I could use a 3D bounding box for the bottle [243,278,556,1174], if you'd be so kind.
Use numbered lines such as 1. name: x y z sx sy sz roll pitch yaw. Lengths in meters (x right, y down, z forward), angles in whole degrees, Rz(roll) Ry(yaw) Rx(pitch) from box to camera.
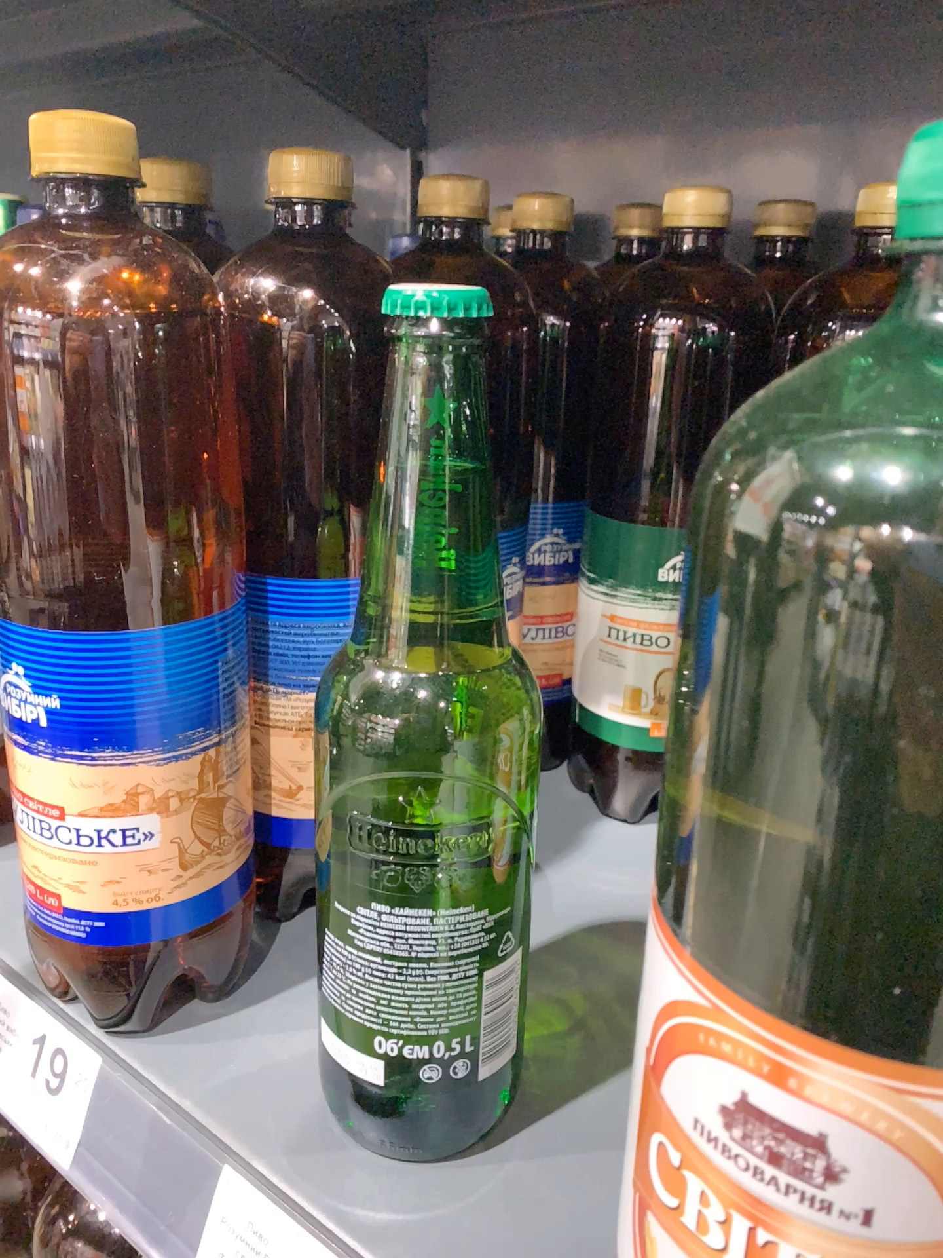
1. bottle: -0.017 0.031 0.283 0.066 0.248 0.062 1 19 0

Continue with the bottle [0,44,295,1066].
1. bottle: -0.117 -0.014 0.317 0.080 0.288 0.074 1 19 0
